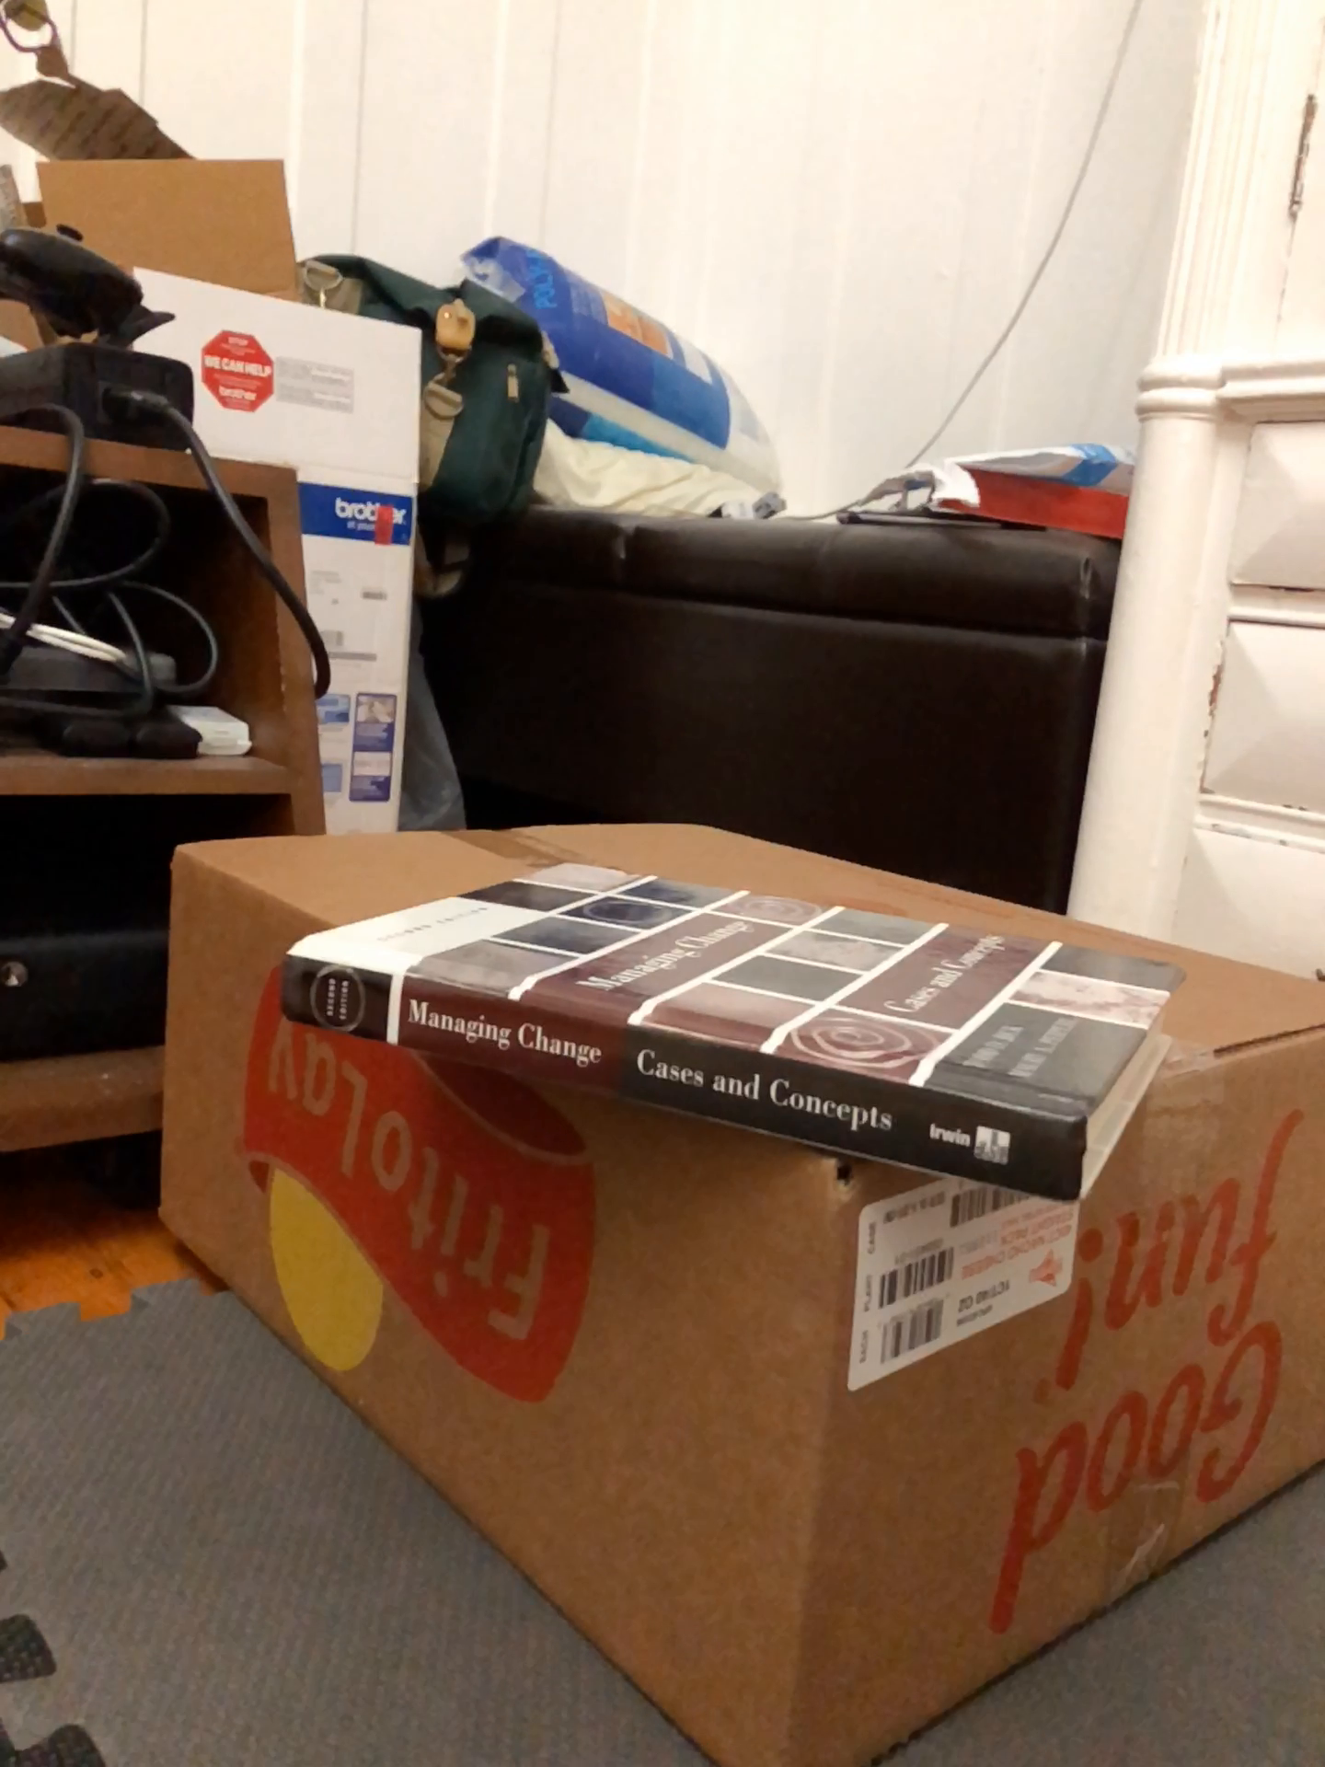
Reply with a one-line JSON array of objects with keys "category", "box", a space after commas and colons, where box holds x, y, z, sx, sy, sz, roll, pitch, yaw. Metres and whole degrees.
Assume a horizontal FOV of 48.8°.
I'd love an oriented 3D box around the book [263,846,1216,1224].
[{"category": "book", "box": [0.033, 0.031, 0.462, 0.250, 0.030, 0.180, 10, 12, 24]}]
